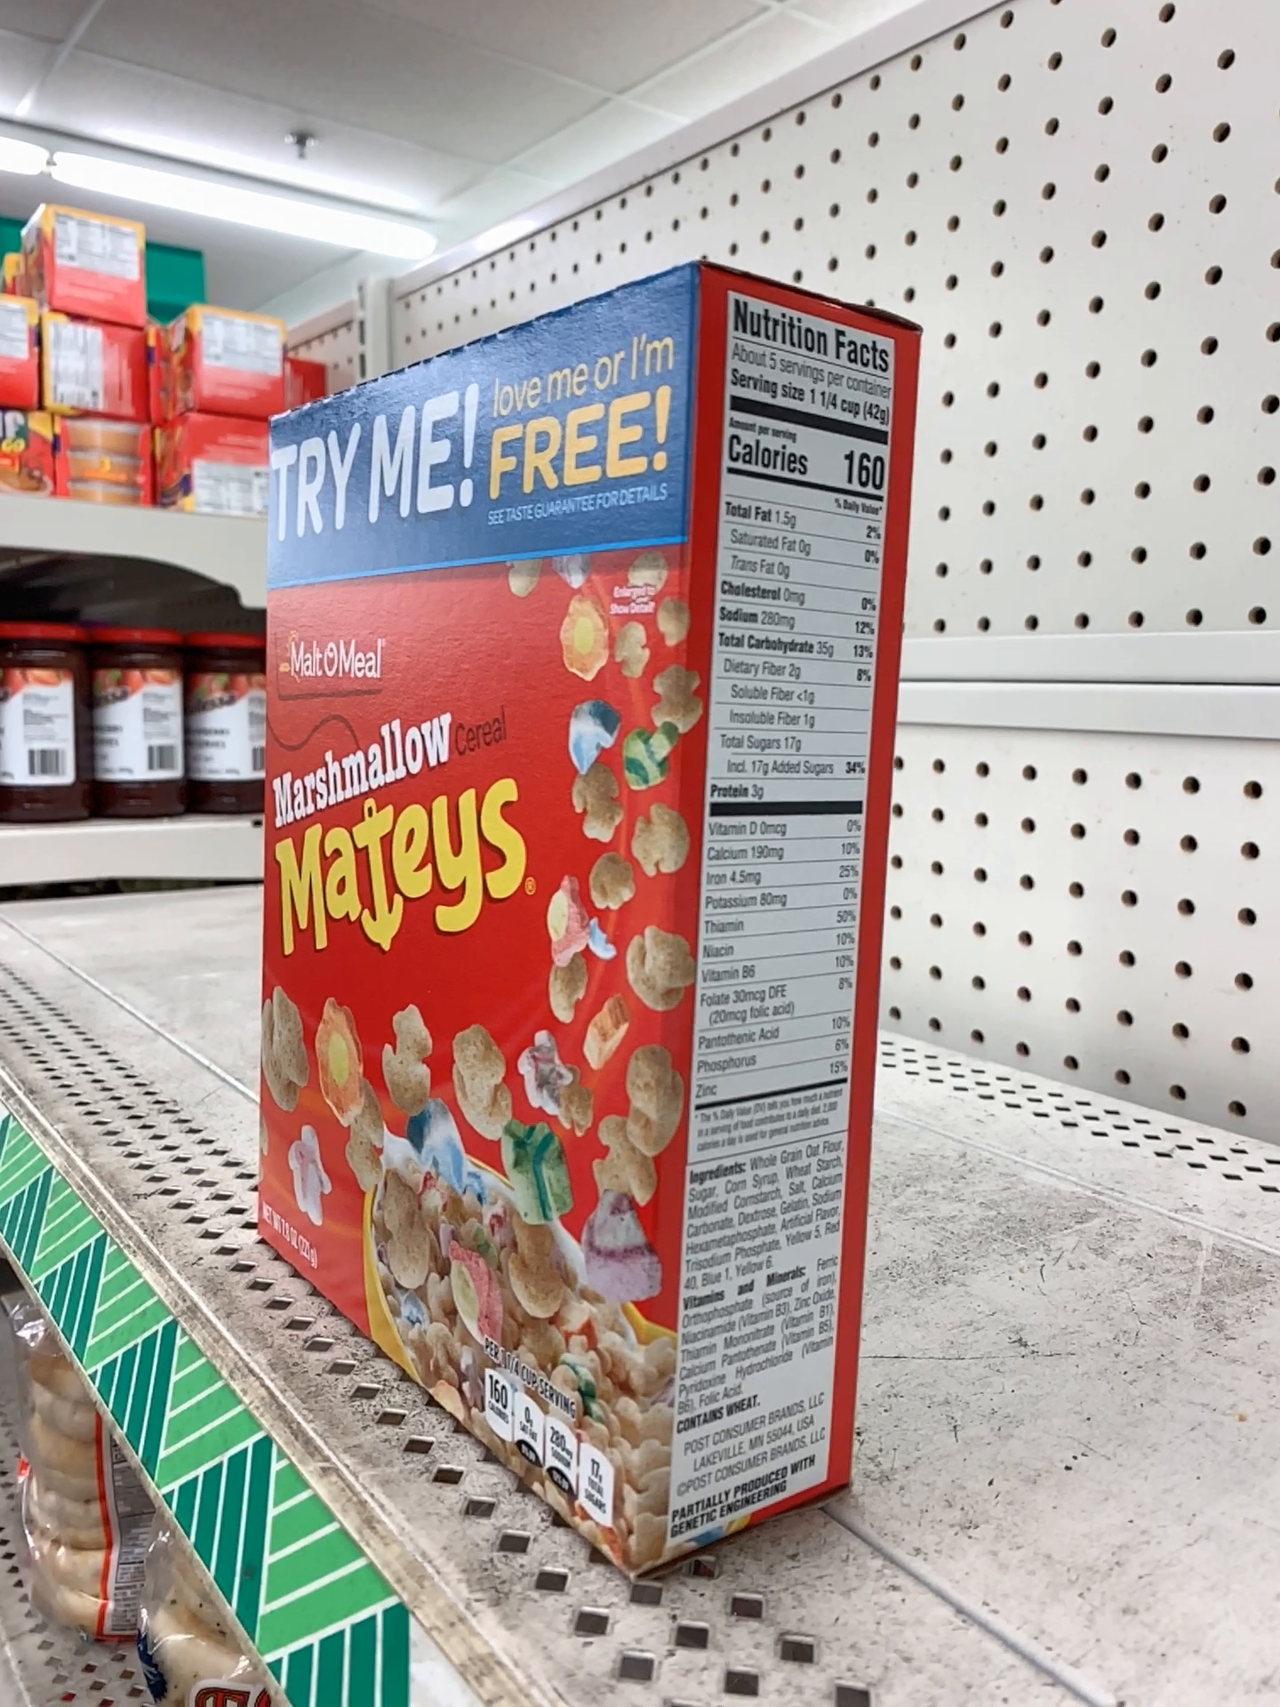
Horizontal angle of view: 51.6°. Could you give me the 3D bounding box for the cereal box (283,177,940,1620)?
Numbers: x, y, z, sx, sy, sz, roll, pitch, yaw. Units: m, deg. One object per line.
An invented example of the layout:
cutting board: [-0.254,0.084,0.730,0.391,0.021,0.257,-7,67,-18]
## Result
cereal box: [-0.024,0.002,0.297,0.050,0.230,0.180,-3,7,-35]
